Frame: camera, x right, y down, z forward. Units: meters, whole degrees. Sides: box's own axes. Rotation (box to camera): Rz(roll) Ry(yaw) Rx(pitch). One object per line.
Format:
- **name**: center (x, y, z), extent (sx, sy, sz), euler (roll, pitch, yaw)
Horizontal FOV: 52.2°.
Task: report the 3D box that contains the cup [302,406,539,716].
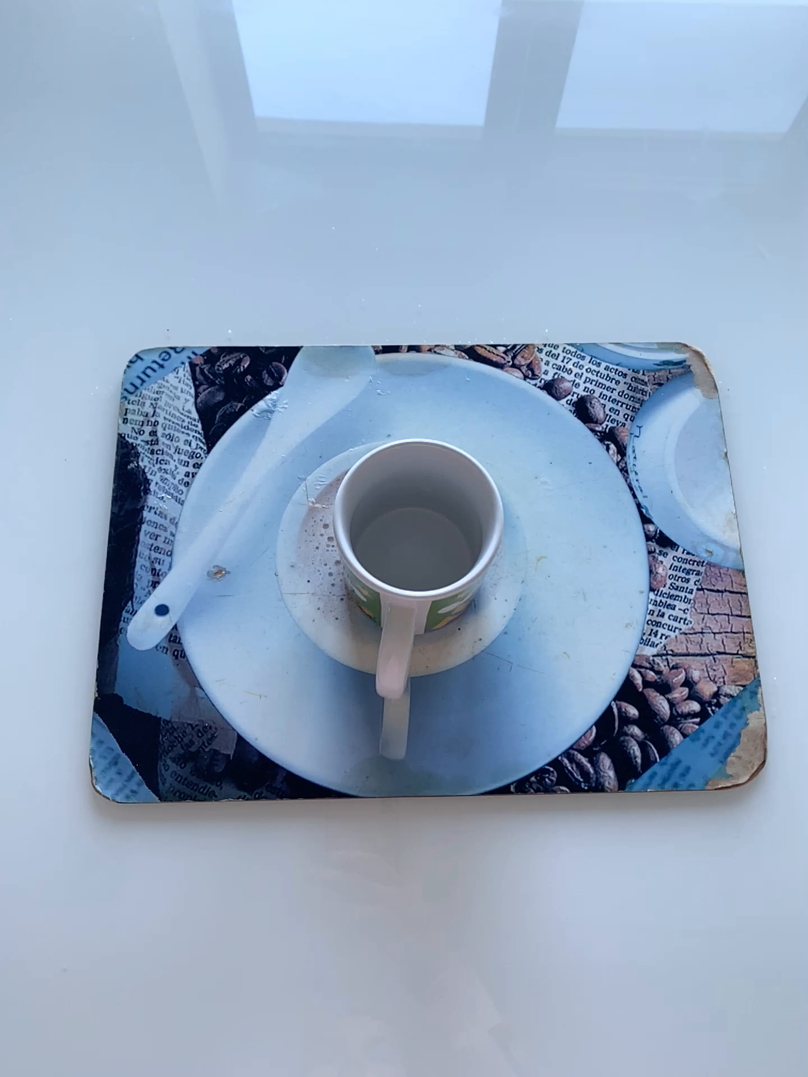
- **cup**: center (0.010, 0.015, 0.434), extent (0.094, 0.077, 0.133), euler (10, 73, 2)
